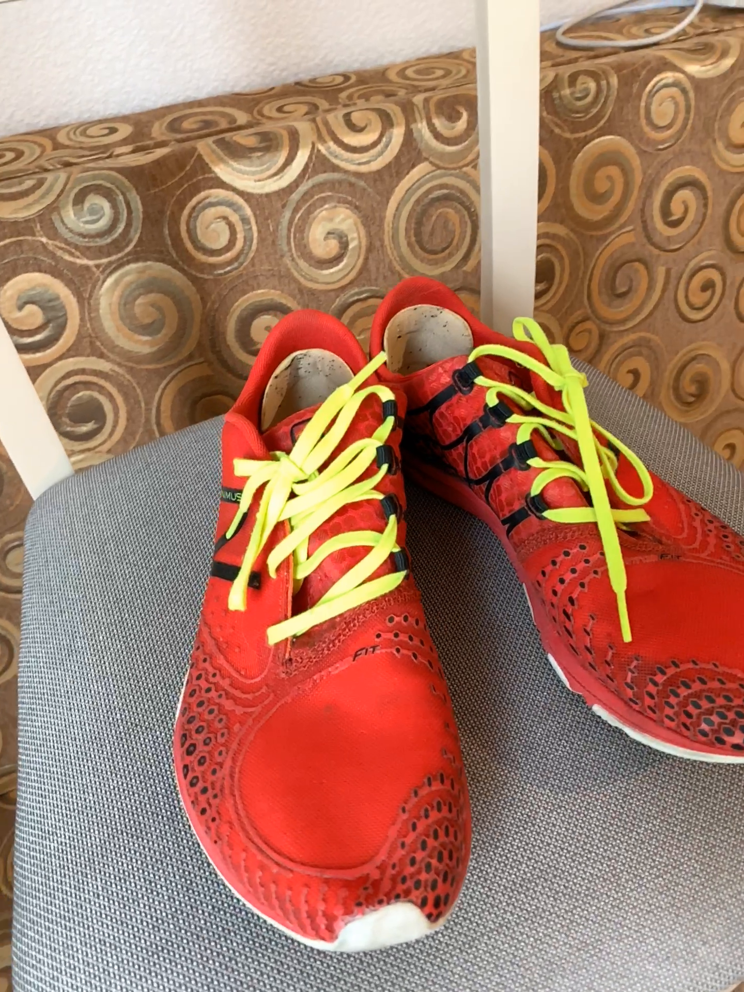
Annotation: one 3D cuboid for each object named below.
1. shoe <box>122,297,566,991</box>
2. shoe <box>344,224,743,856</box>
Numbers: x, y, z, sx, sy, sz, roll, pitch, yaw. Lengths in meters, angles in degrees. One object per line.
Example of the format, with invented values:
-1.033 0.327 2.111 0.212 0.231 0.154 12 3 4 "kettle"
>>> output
-0.022 0.038 0.308 0.110 0.090 0.261 -7 48 -4 "shoe"
0.099 -0.006 0.335 0.110 0.090 0.261 -23 51 -17 "shoe"
